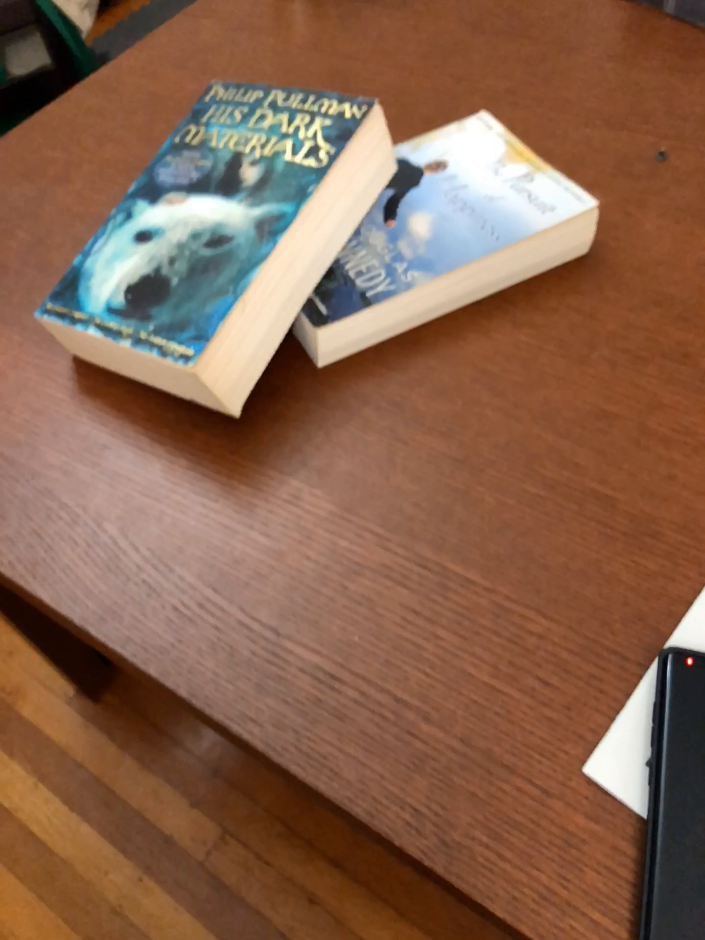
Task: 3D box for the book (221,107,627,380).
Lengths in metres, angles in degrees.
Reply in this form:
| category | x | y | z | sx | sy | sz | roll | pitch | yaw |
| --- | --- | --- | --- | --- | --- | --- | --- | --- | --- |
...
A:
| category | x | y | z | sx | sy | sz | roll | pitch | yaw |
| --- | --- | --- | --- | --- | --- | --- | --- | --- | --- |
| book | 0.044 | -0.176 | 0.576 | 0.240 | 0.040 | 0.171 | -23 | 49 | -8 |

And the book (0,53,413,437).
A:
| category | x | y | z | sx | sy | sz | roll | pitch | yaw |
| --- | --- | --- | --- | --- | --- | --- | --- | --- | --- |
| book | -0.094 | -0.162 | 0.525 | 0.170 | 0.060 | 0.241 | 21 | 71 | 25 |
